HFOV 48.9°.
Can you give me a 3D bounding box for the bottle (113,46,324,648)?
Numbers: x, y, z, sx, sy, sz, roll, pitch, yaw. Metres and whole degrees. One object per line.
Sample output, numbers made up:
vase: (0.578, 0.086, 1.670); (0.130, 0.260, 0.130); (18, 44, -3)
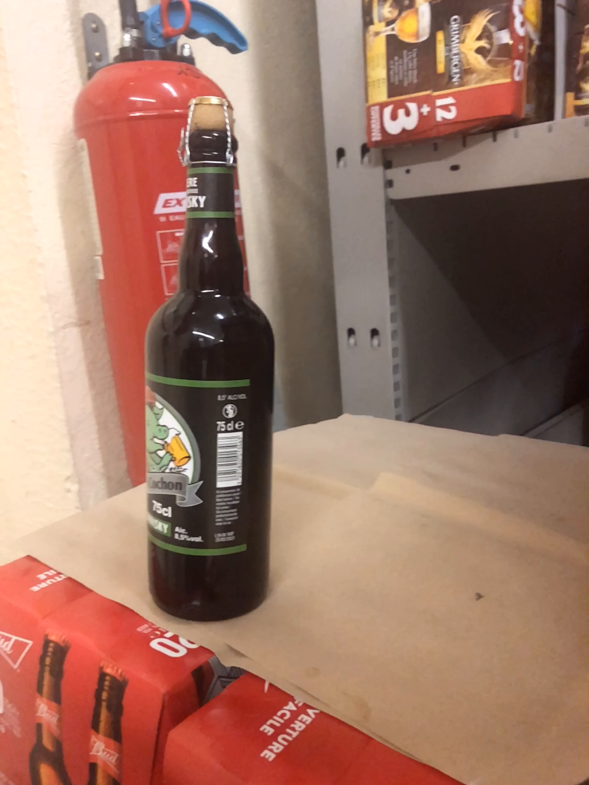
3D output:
bottle: (-0.047, -0.022, 0.381); (0.080, 0.299, 0.090); (-6, 11, -39)
